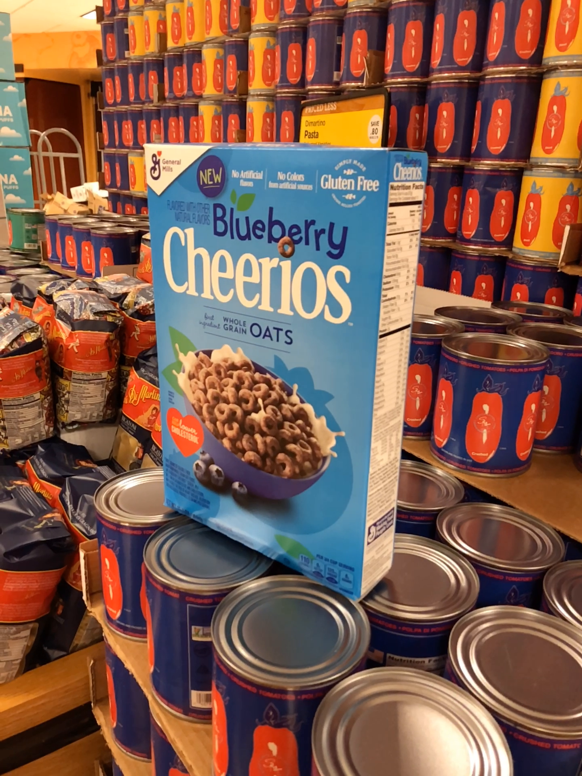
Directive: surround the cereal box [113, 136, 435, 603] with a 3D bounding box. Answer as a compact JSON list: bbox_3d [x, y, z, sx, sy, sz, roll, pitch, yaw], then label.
[{"bbox_3d":[-0.023,-0.025,0.445,0.210,0.278,0.060,16,24,35],"label":"cereal box"}]
